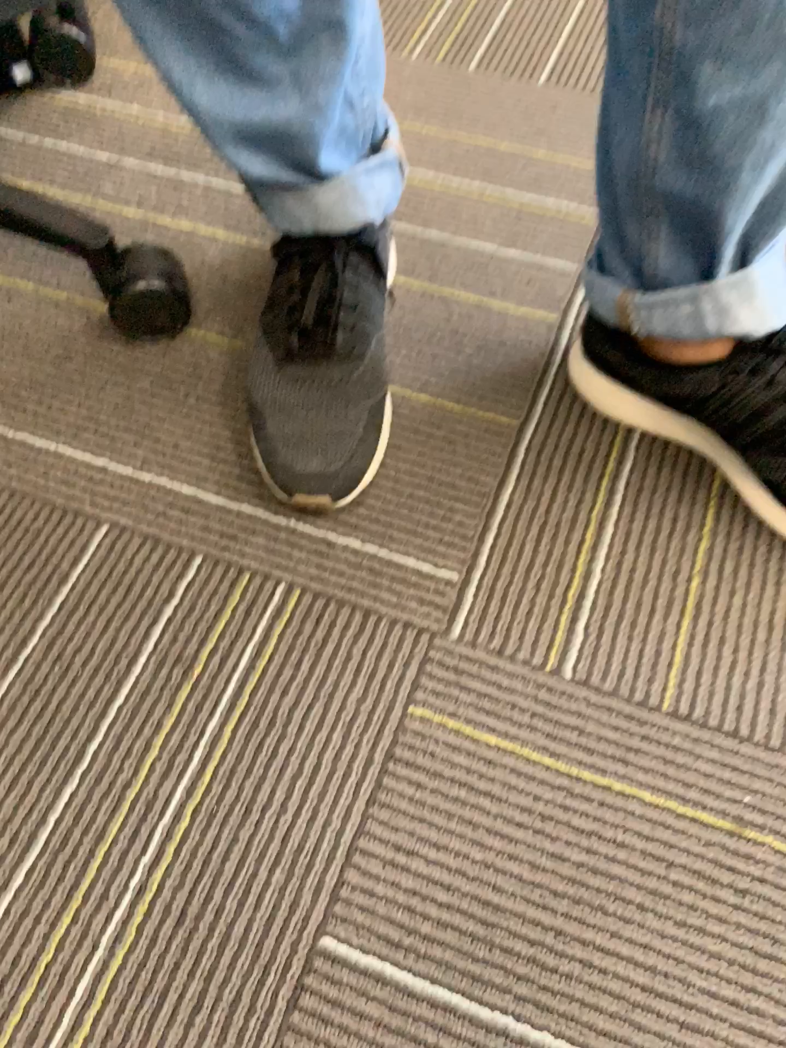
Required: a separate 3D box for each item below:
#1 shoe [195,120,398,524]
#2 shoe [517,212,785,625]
[{"bbox_3d":[-0.059,-0.161,0.617,0.110,0.106,0.307,2,61,2],"label":"shoe"},{"bbox_3d":[0.251,-0.080,0.570,0.306,0.106,0.112,36,68,19],"label":"shoe"}]
